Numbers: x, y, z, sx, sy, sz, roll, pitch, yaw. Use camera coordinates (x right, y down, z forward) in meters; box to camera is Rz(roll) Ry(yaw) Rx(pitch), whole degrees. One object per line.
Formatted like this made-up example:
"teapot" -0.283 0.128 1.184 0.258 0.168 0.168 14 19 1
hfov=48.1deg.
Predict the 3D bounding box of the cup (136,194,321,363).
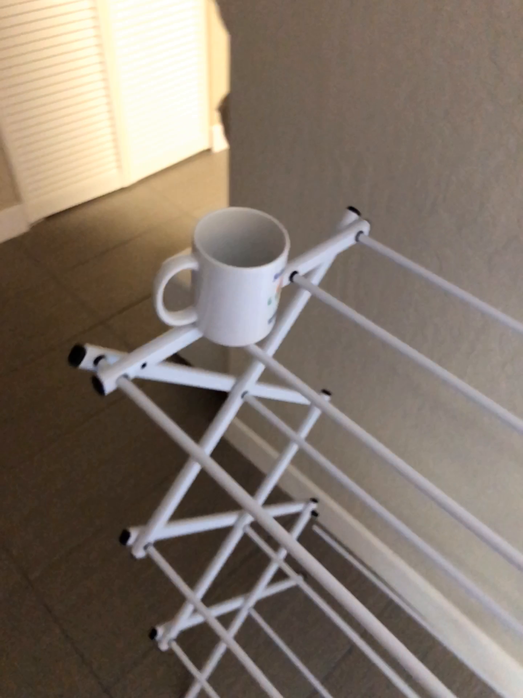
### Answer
"cup" -0.033 -0.064 0.517 0.130 0.090 0.090 -13 53 -20
